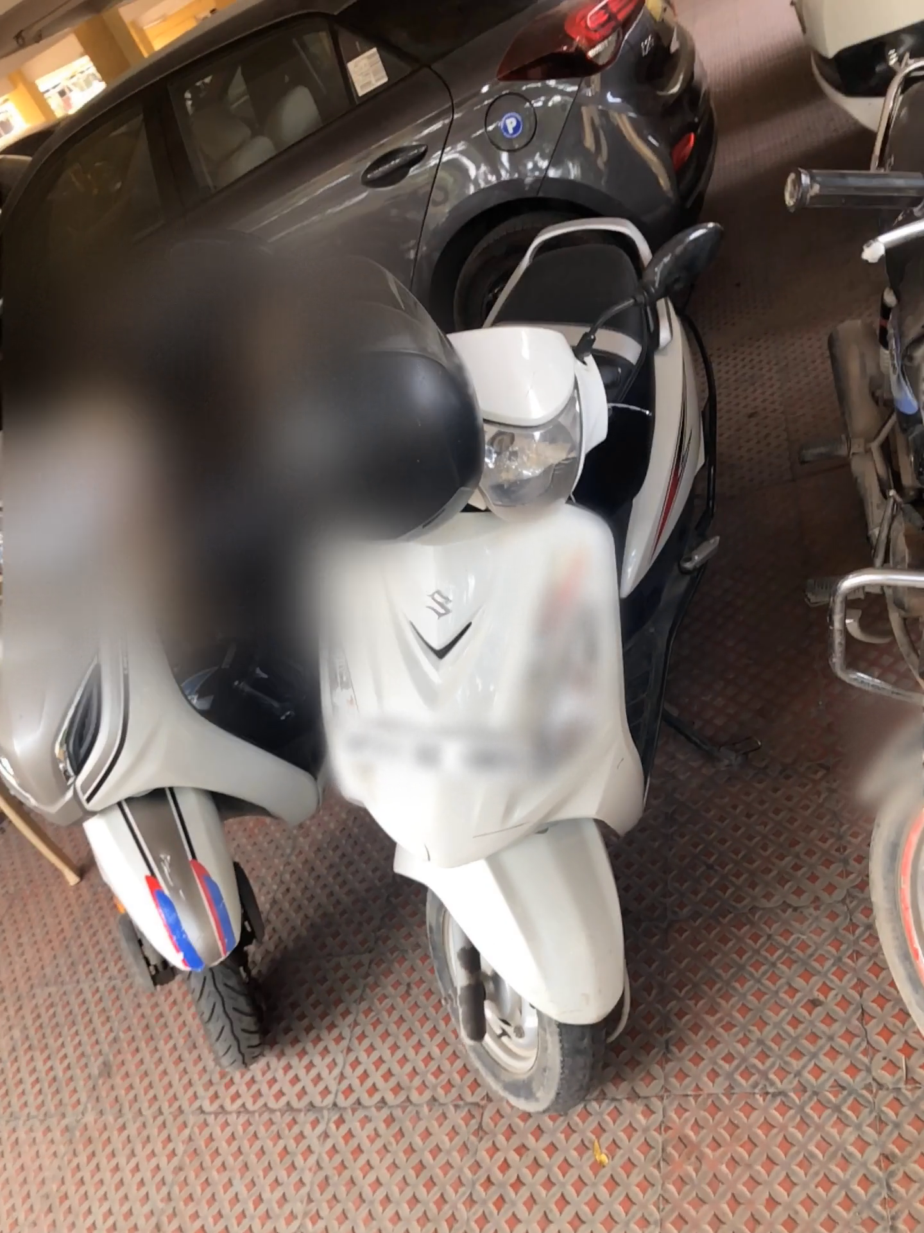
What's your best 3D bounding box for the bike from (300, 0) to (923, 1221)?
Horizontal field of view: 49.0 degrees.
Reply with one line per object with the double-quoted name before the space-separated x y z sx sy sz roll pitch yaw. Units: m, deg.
"bike" 0.416 -0.097 1.691 0.833 0.941 1.514 -17 43 21
